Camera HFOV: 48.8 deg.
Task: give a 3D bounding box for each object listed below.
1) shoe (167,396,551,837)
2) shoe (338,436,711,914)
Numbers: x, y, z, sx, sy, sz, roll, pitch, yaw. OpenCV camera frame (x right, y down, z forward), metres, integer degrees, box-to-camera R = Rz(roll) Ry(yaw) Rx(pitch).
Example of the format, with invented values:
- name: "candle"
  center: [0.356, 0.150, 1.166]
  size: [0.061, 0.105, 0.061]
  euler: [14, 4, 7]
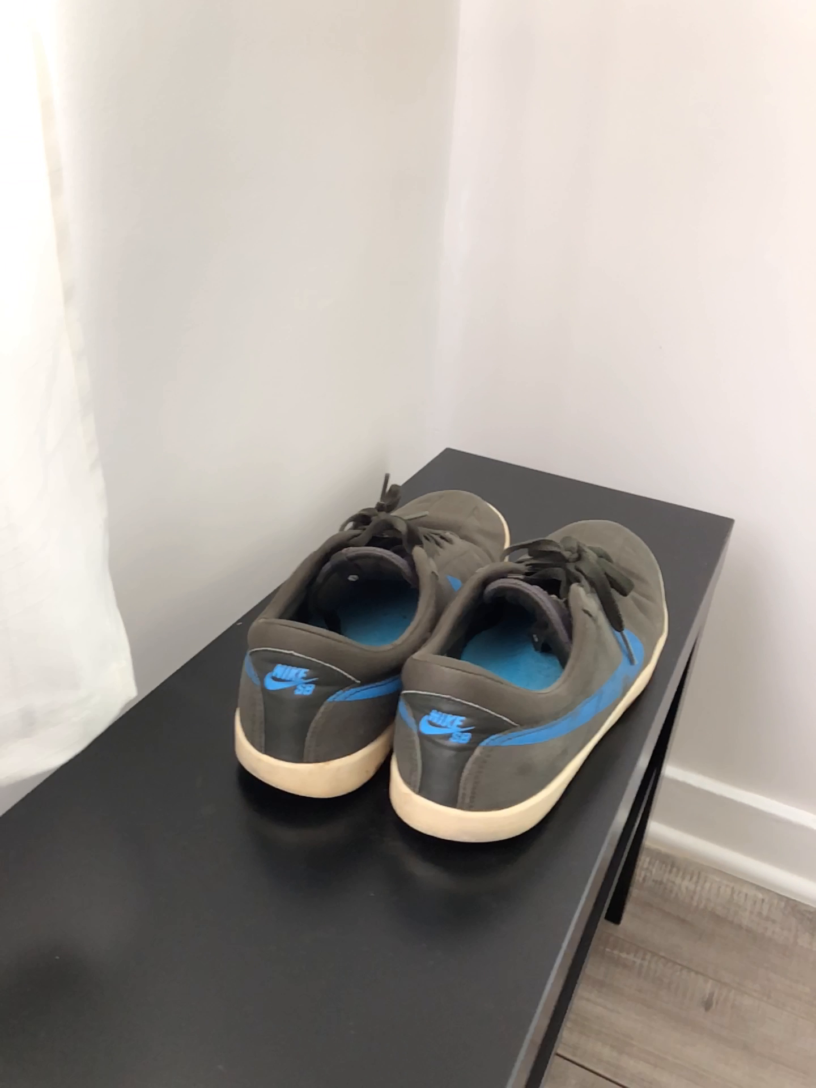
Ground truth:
- name: "shoe"
  center: [-0.010, 0.017, 0.524]
  size: [0.100, 0.110, 0.281]
  euler: [15, 31, 18]
- name: "shoe"
  center: [0.079, 0.046, 0.504]
  size: [0.100, 0.110, 0.281]
  euler: [17, 32, 22]
